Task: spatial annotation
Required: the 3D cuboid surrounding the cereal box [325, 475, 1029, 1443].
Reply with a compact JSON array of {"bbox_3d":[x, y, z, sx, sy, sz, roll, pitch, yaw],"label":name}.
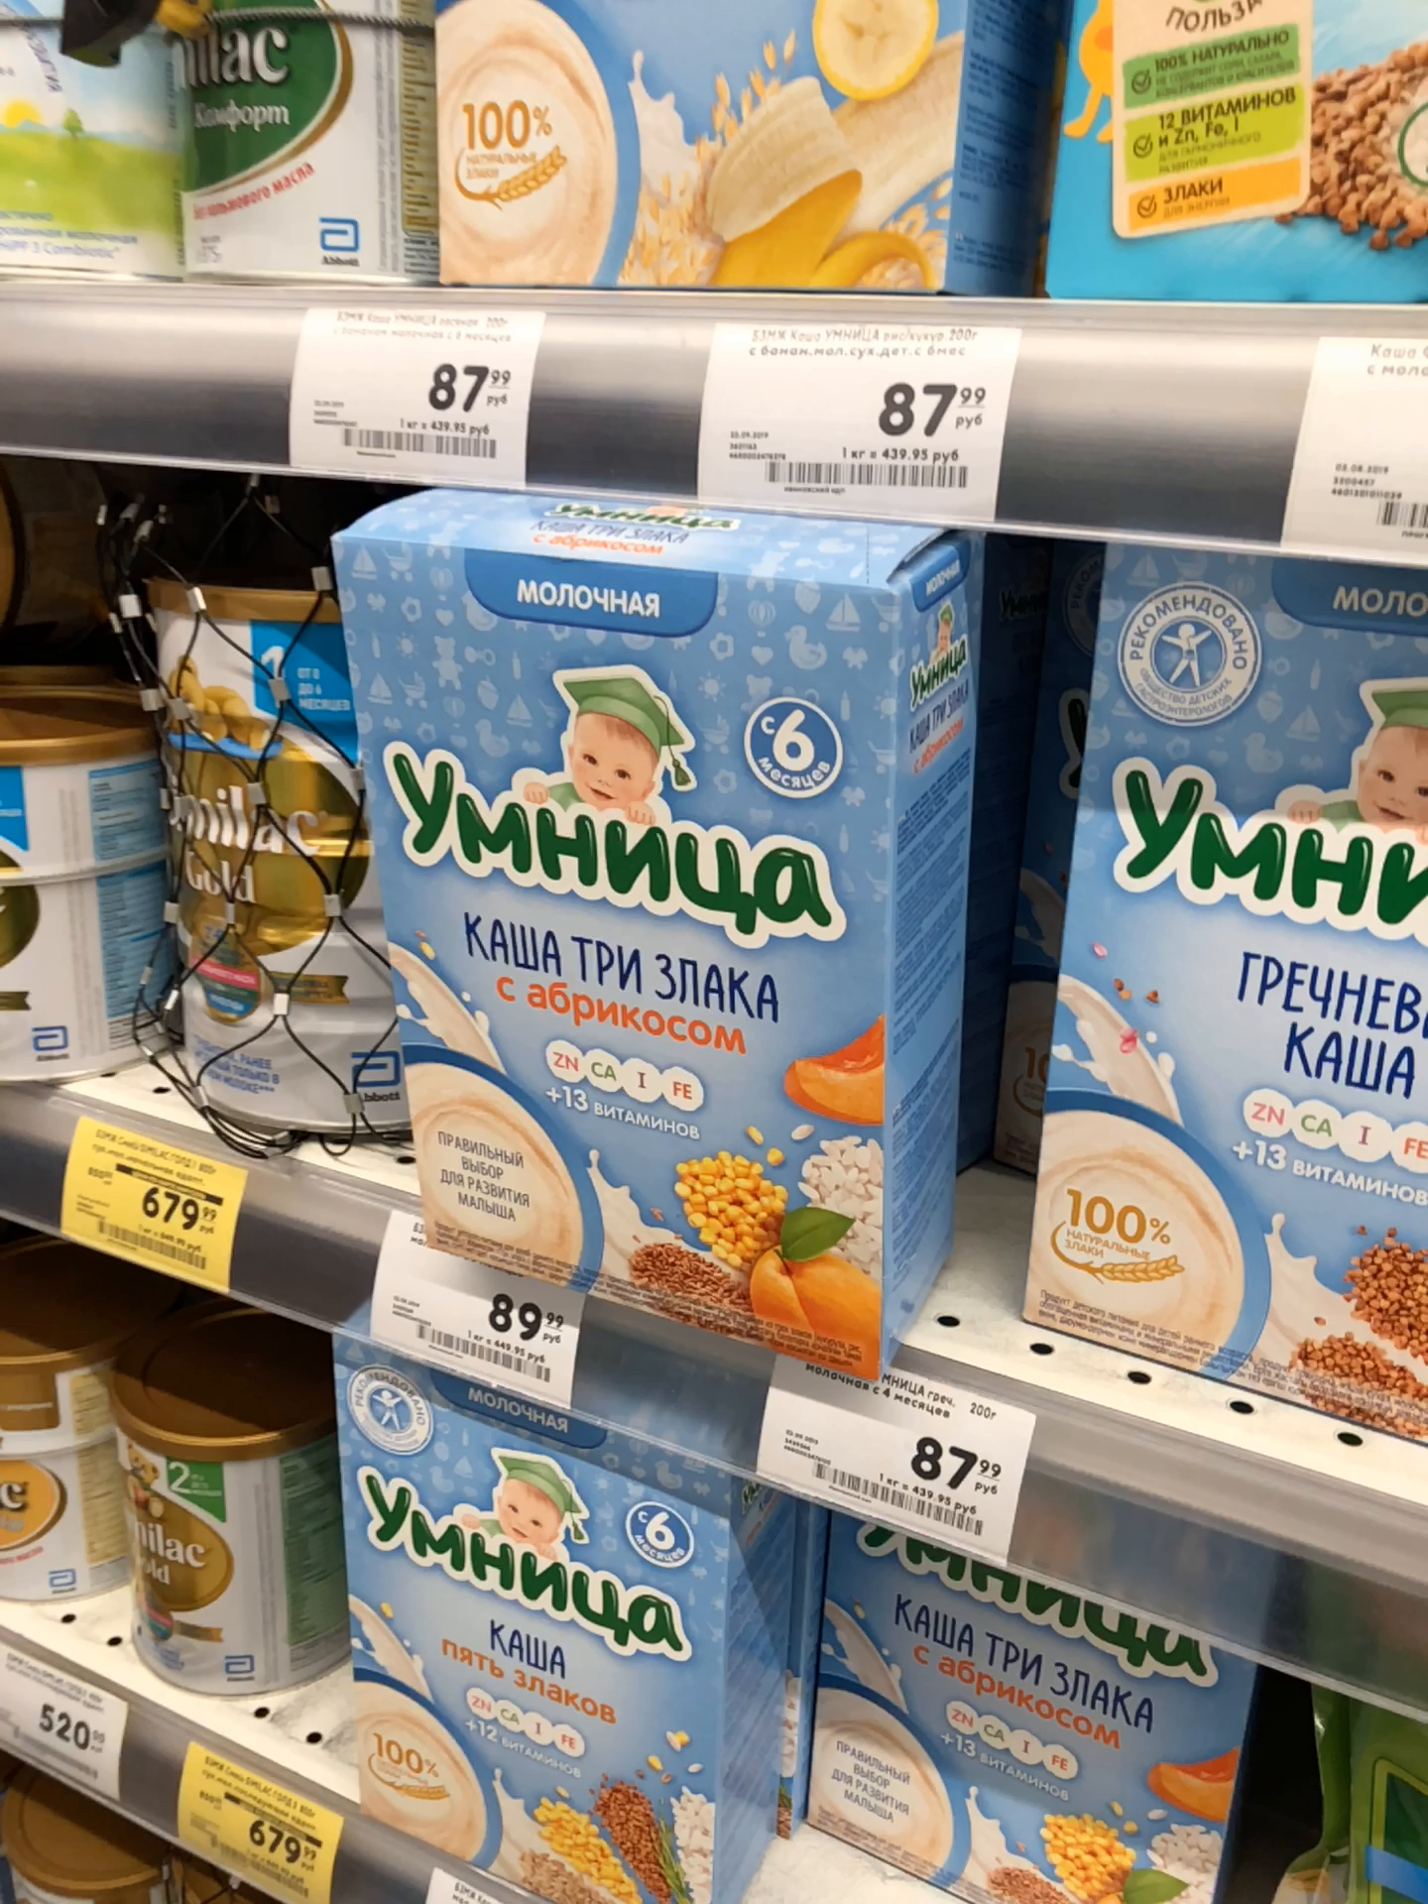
[{"bbox_3d":[-0.006,0.000,0.388,0.140,0.209,0.060,12,30,25],"label":"cereal box"}]
